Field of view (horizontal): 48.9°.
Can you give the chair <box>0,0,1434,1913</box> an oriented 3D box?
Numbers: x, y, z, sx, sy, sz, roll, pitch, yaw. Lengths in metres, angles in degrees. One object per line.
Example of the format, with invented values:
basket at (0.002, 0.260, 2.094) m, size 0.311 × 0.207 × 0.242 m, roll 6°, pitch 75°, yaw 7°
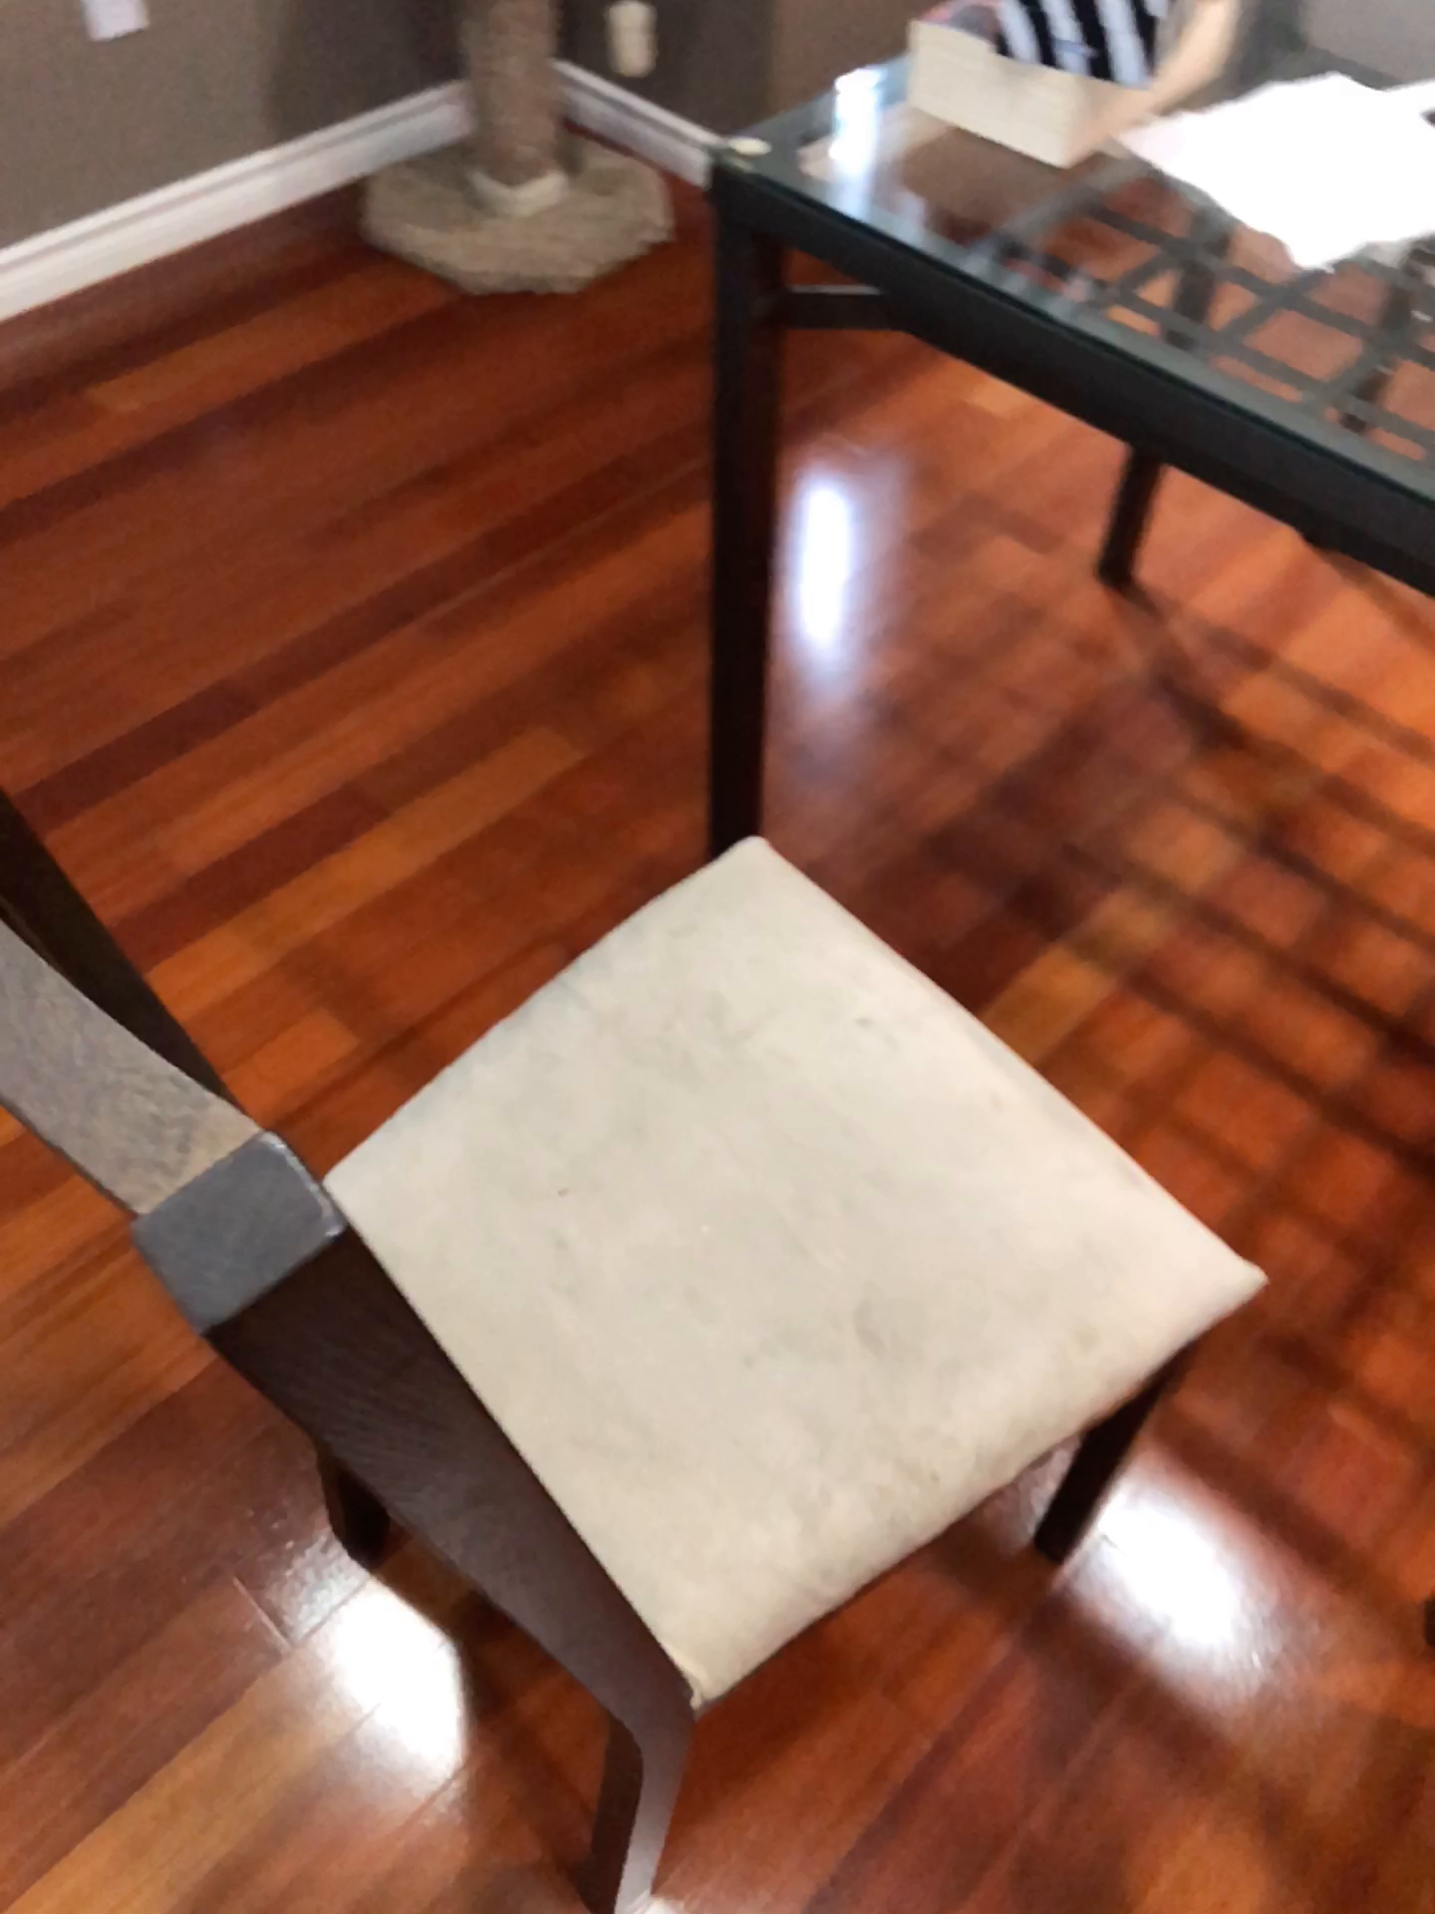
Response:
chair at (0.004, 0.161, 0.854) m, size 0.511 × 1.054 × 0.492 m, roll -32°, pitch 59°, yaw -24°
